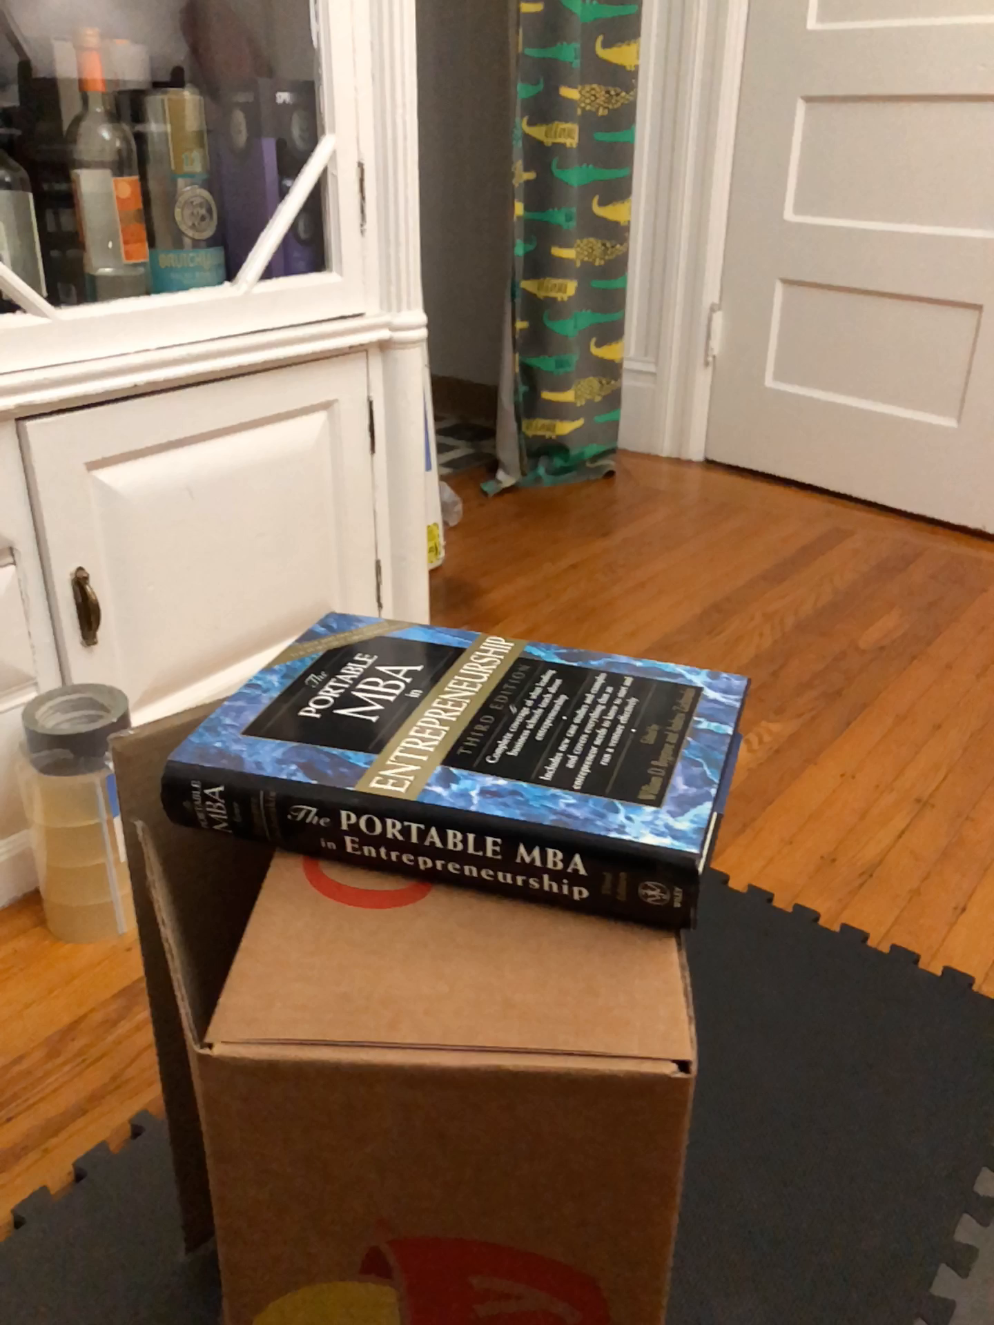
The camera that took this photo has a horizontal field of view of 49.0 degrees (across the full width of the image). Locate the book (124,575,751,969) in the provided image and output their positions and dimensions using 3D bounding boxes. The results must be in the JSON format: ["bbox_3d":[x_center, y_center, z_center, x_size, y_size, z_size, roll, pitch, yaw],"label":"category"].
[{"bbox_3d":[-0.016,0.038,0.581,0.270,0.060,0.211,10,27,14],"label":"book"}]
